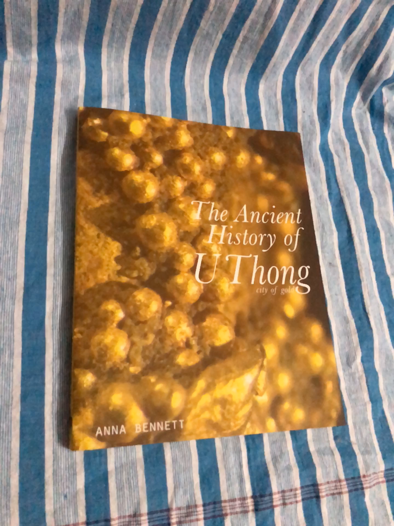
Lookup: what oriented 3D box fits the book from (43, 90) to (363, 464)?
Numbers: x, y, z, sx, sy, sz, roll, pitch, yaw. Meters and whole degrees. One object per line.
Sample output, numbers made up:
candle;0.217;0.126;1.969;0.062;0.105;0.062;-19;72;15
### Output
book;0.005;0.002;0.332;0.221;0.030;0.250;2;72;-20
